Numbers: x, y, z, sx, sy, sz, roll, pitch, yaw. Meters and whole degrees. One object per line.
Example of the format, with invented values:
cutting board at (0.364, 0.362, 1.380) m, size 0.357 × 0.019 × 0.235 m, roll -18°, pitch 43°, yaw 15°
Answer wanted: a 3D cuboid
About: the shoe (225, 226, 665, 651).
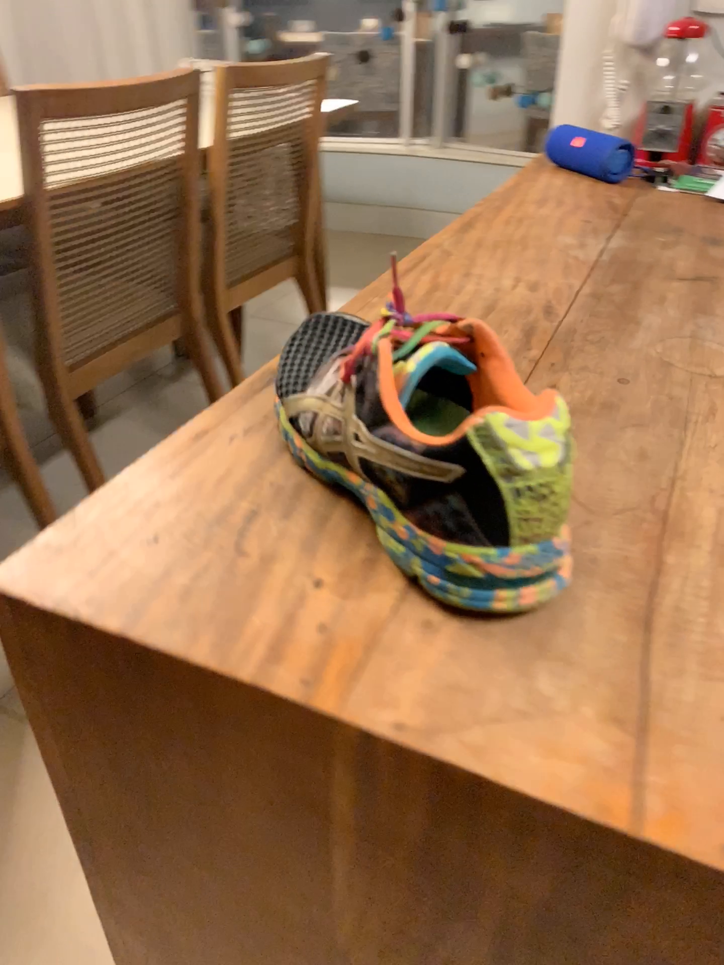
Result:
shoe at (0.018, -0.058, 0.457) m, size 0.107 × 0.112 × 0.314 m, roll -15°, pitch 36°, yaw -21°
